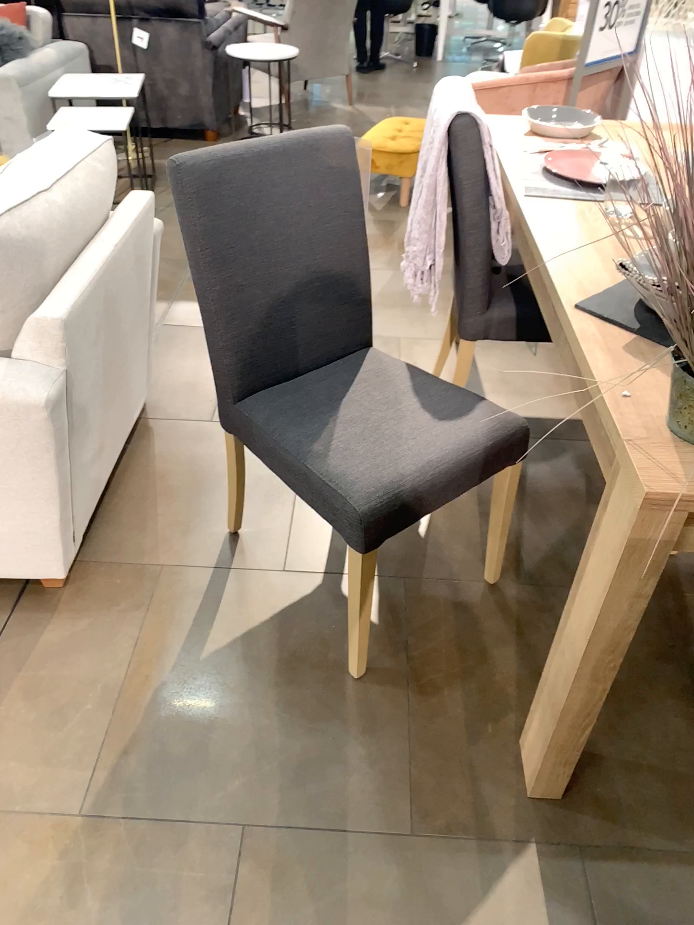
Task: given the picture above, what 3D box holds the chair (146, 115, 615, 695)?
[{"bbox_3d":[0.019,-0.133,1.450,0.508,0.889,0.618,-24,46,-29],"label":"chair"}]
